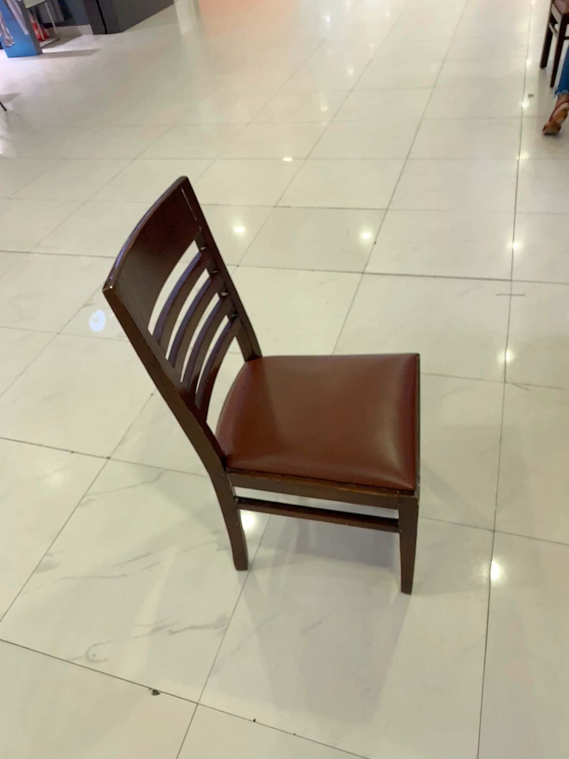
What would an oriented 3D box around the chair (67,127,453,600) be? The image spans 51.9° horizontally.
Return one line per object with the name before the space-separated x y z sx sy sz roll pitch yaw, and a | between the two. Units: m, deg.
chair | 0.048 -0.017 1.250 0.540 0.783 0.564 1 42 13
